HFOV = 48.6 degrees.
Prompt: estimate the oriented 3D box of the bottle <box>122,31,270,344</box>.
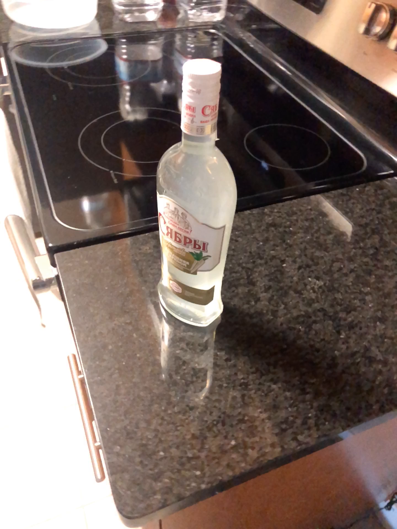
[{"bbox_3d":[-0.009,-0.051,0.403,0.060,0.269,0.090,-30,54,-29],"label":"bottle"}]
